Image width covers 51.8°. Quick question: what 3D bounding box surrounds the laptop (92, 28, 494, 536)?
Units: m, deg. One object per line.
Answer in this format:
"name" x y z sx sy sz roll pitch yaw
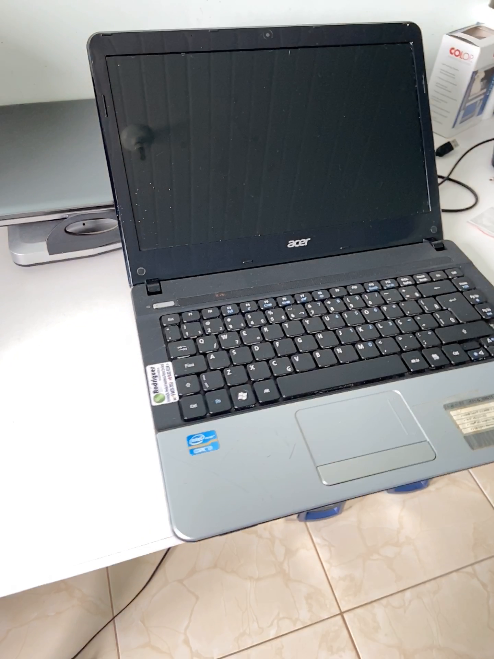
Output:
"laptop" 0.071 -0.096 0.423 0.332 0.163 0.397 -10 47 -13
